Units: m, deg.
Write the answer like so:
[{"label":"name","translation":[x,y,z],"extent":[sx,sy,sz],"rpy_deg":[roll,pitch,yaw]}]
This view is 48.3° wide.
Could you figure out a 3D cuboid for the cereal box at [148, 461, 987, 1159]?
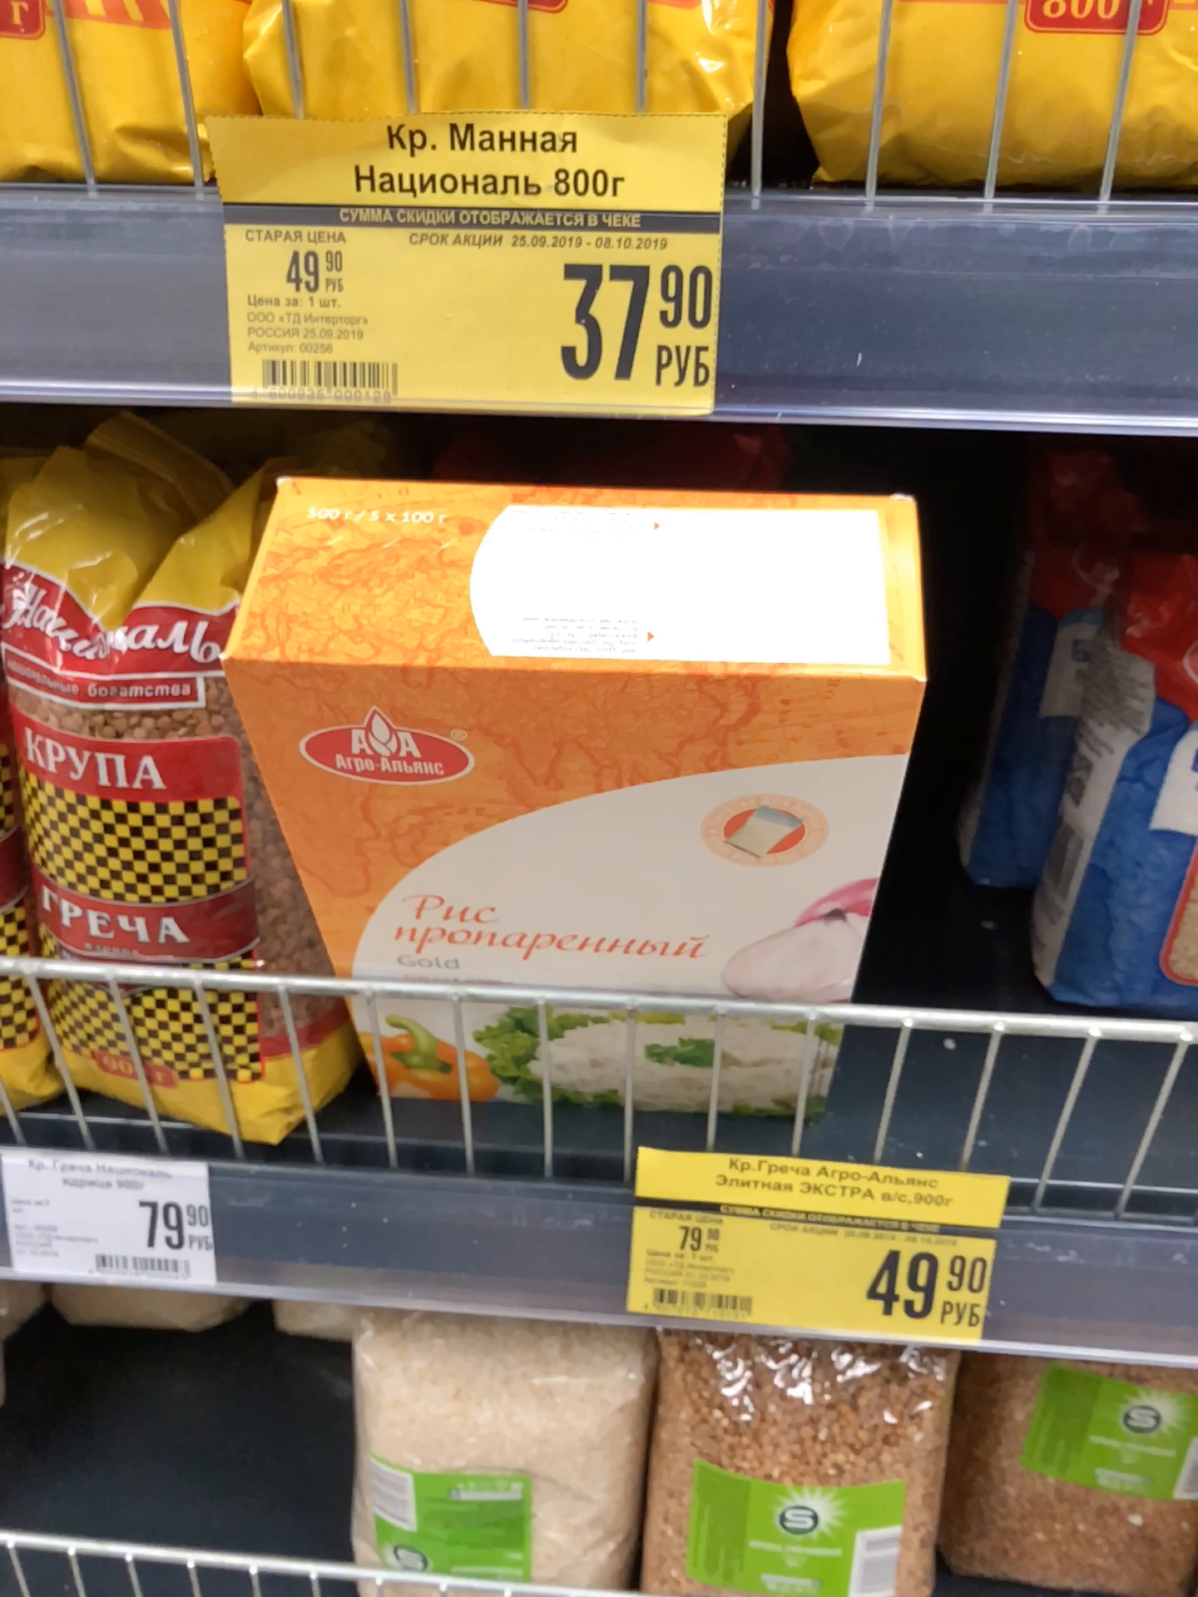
[{"label":"cereal box","translation":[-0.003,0.017,0.316],"extent":[0.140,0.189,0.060],"rpy_deg":[2,53,3]}]
